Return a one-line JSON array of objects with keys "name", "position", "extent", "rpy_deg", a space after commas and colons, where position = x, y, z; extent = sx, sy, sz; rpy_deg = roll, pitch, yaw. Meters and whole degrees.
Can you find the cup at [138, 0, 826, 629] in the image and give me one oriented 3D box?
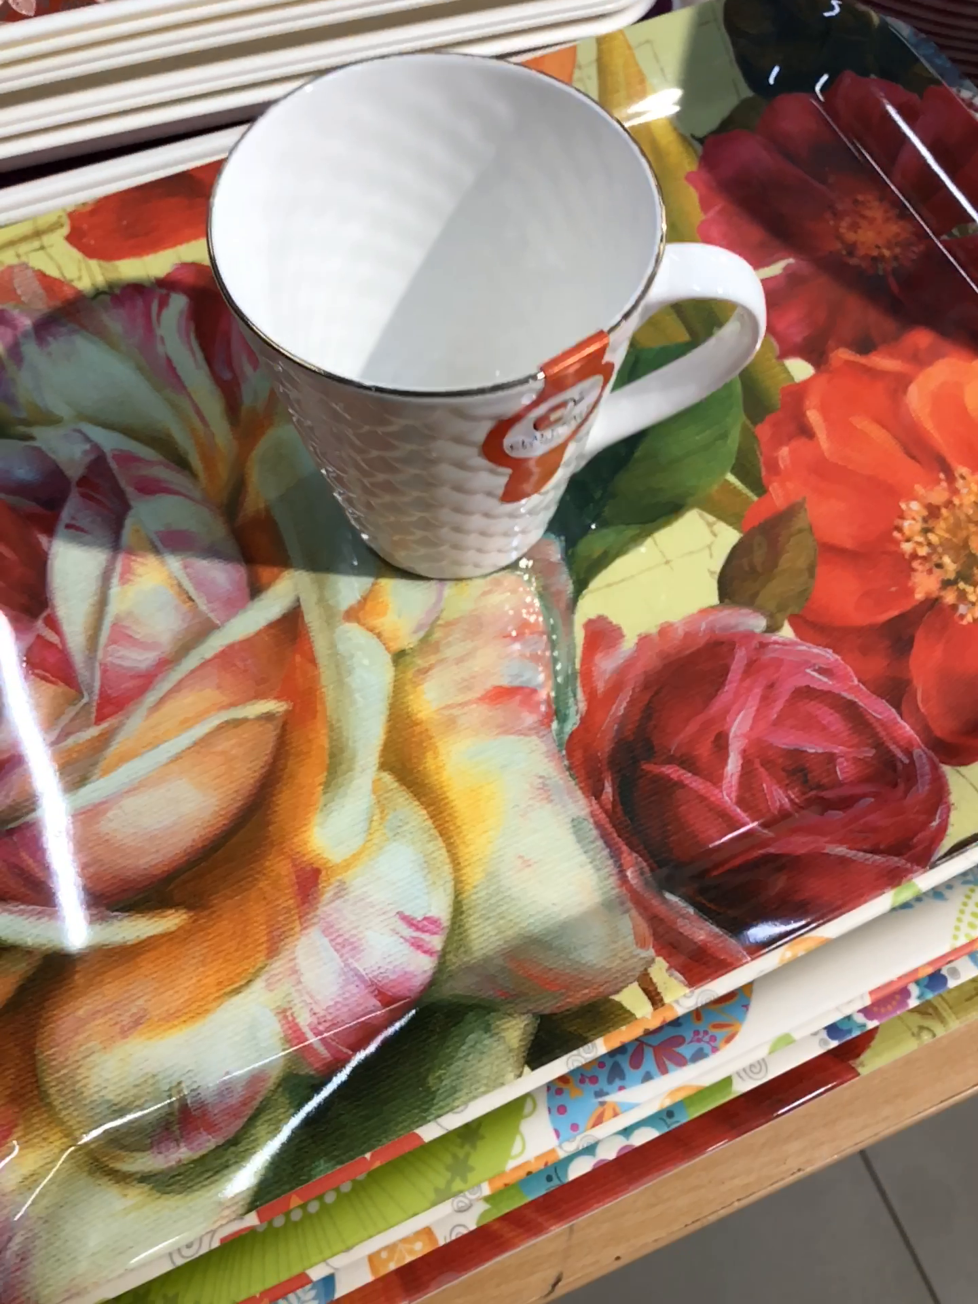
[{"name": "cup", "position": [-0.008, -0.077, 0.251], "extent": [0.120, 0.090, 0.100], "rpy_deg": [-7, 63, -5]}]
